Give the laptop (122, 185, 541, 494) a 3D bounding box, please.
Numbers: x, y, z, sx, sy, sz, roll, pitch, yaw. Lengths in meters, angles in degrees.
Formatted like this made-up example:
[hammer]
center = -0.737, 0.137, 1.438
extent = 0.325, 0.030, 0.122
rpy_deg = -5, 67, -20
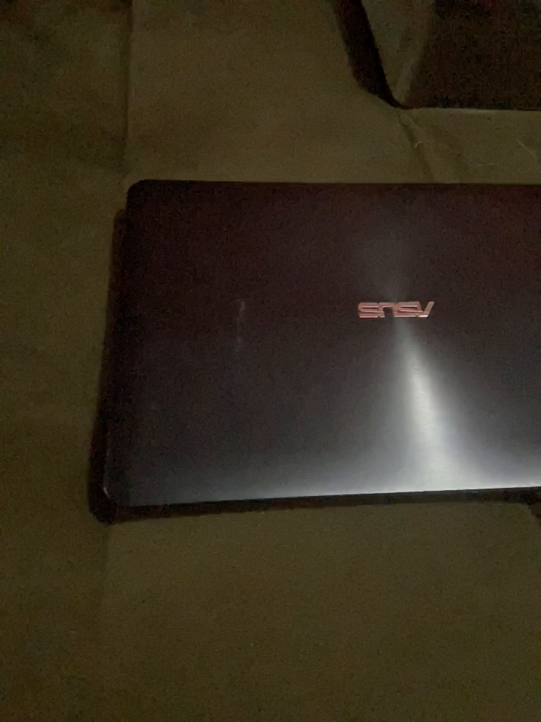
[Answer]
[laptop]
center = 0.093, -0.033, 0.383
extent = 0.370, 0.004, 0.235
rpy_deg = -1, 61, -5
